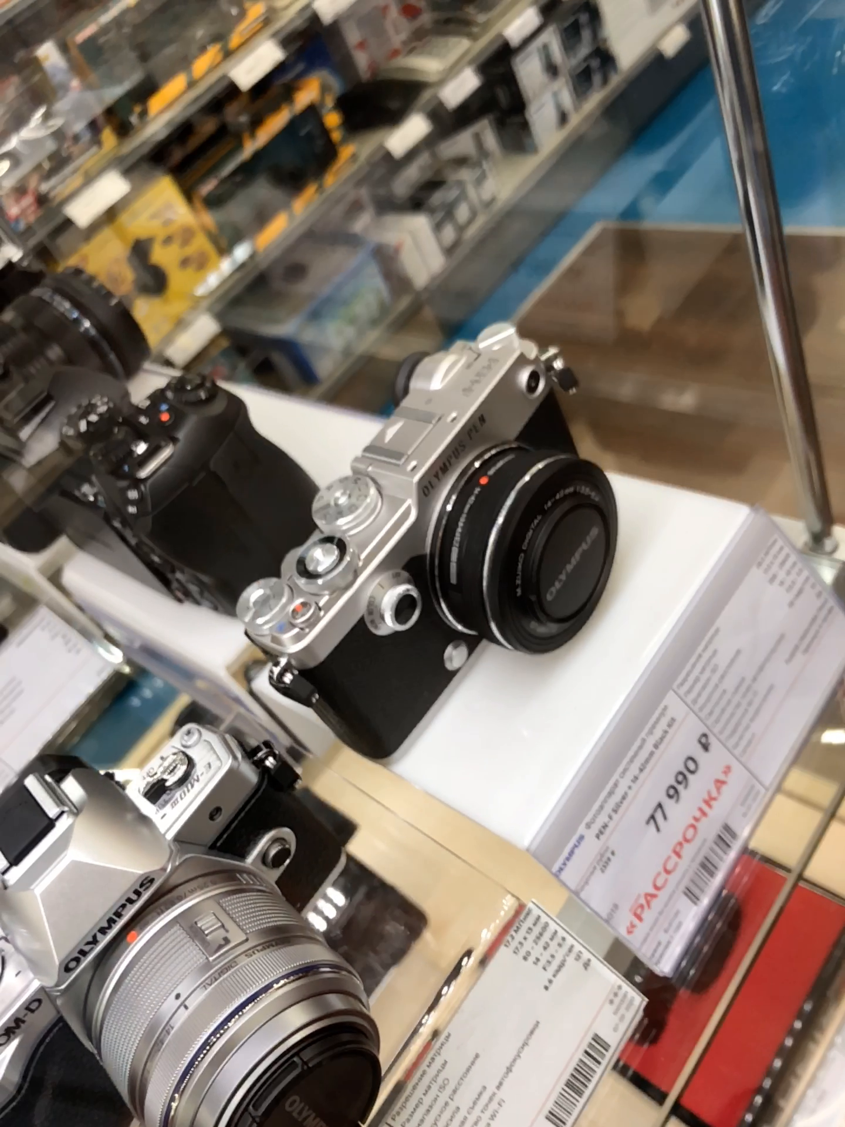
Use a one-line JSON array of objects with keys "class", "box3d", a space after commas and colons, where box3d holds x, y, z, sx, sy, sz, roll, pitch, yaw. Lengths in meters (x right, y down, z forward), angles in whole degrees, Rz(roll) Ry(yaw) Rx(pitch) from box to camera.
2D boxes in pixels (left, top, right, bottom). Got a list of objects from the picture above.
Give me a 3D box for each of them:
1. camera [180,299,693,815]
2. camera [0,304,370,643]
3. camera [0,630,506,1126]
[{"class": "camera", "box3d": [0.010, -0.009, 0.285, 0.076, 0.070, 0.127, 18, 61, 41]}, {"class": "camera", "box3d": [-0.105, -0.041, 0.372, 0.128, 0.075, 0.083, 19, 61, 42]}, {"class": "camera", "box3d": [-0.066, 0.101, 0.226, 0.099, 0.075, 0.127, 21, 62, 42]}]
